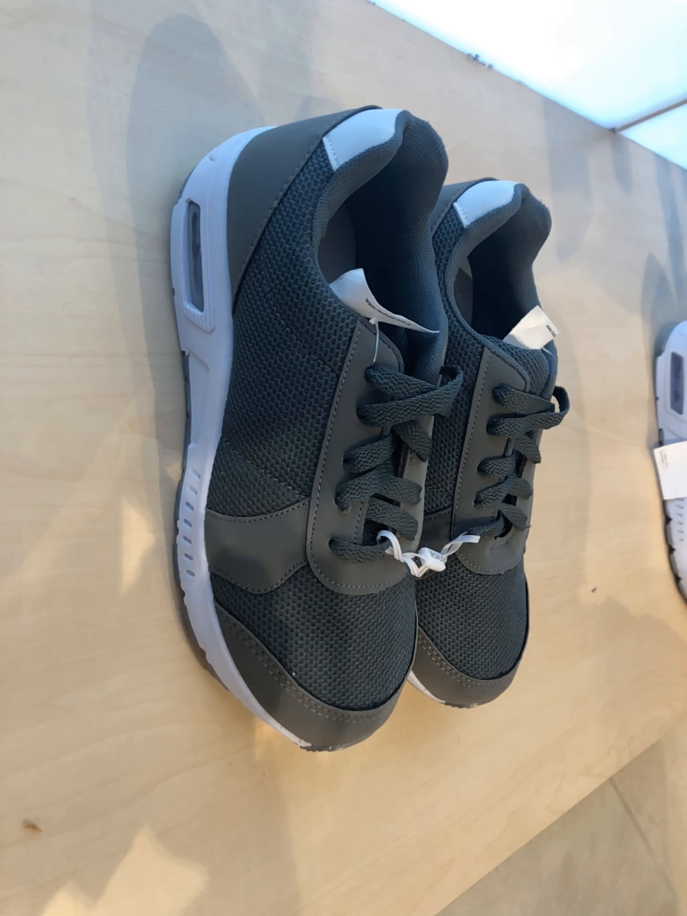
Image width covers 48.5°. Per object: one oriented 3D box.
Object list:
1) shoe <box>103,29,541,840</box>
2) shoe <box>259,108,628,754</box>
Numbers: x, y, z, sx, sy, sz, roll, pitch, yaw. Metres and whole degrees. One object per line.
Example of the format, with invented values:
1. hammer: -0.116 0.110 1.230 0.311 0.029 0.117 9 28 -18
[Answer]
1. shoe: -0.008 -0.007 0.286 0.101 0.099 0.230 -6 89 -45
2. shoe: 0.047 -0.010 0.352 0.101 0.099 0.240 -9 92 -45
